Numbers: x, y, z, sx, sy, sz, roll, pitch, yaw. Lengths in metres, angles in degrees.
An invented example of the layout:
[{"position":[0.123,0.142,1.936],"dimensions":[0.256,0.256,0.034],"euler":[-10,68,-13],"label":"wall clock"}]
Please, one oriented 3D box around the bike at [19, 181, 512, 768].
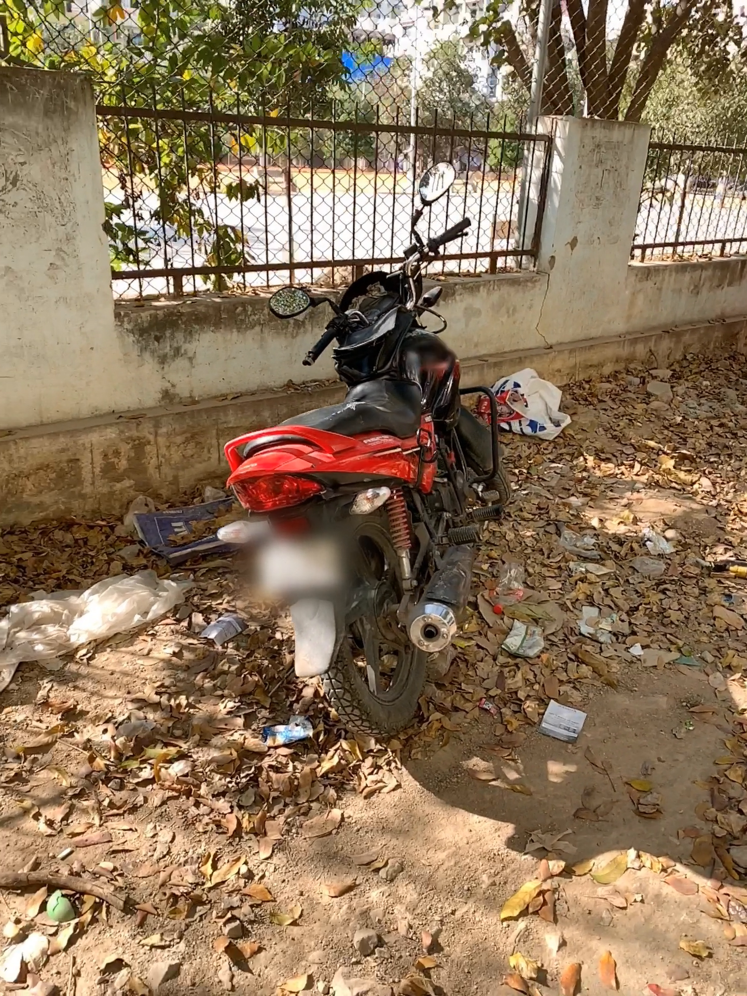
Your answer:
[{"position":[-0.133,-0.223,2.136],"dimensions":[0.822,1.067,1.296],"euler":[7,27,11],"label":"bike"}]
